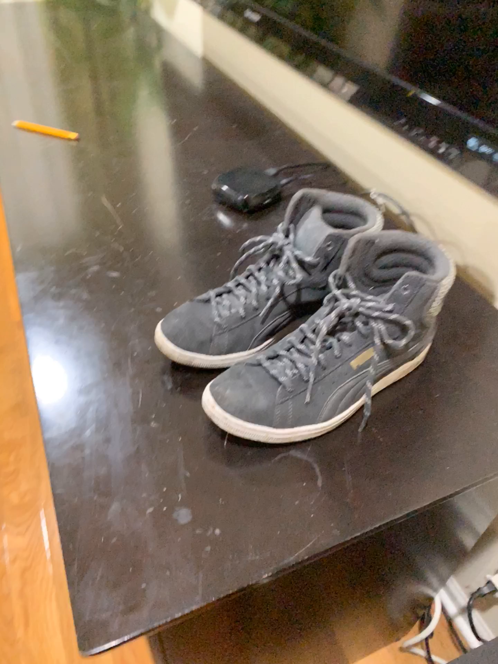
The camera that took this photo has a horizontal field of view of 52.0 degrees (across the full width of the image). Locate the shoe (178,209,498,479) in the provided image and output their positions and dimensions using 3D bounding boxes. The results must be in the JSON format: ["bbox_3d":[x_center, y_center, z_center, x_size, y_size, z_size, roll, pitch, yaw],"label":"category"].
[{"bbox_3d":[0.076,0.000,0.451,0.253,0.124,0.097,-22,49,-24],"label":"shoe"}]

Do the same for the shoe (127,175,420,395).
[{"bbox_3d":[0.027,-0.057,0.509,0.261,0.107,0.101,-23,49,-25],"label":"shoe"}]
